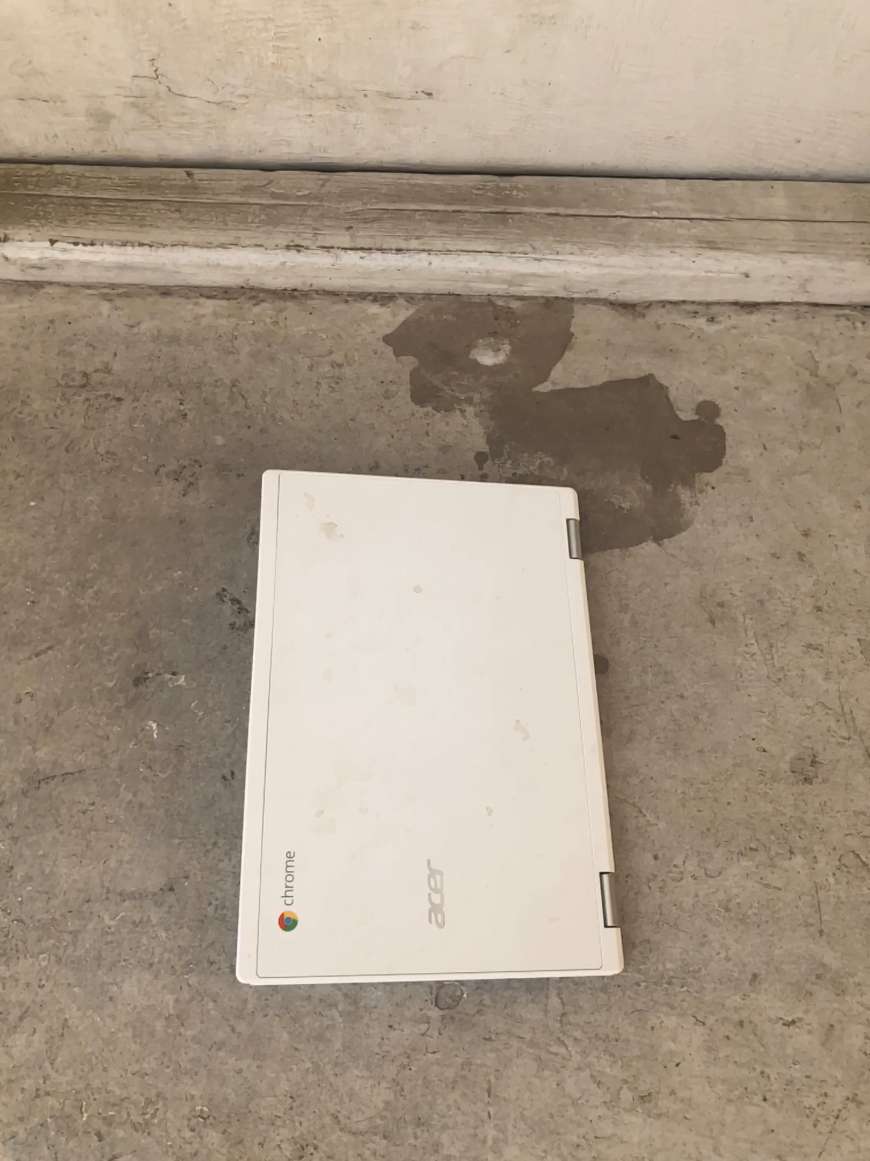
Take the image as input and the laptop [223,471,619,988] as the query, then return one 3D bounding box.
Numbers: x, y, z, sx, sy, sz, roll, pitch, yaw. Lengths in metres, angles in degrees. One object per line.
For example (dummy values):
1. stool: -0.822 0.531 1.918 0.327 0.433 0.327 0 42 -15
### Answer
1. laptop: -0.008 0.073 0.536 0.190 0.046 0.279 -1 66 -2
